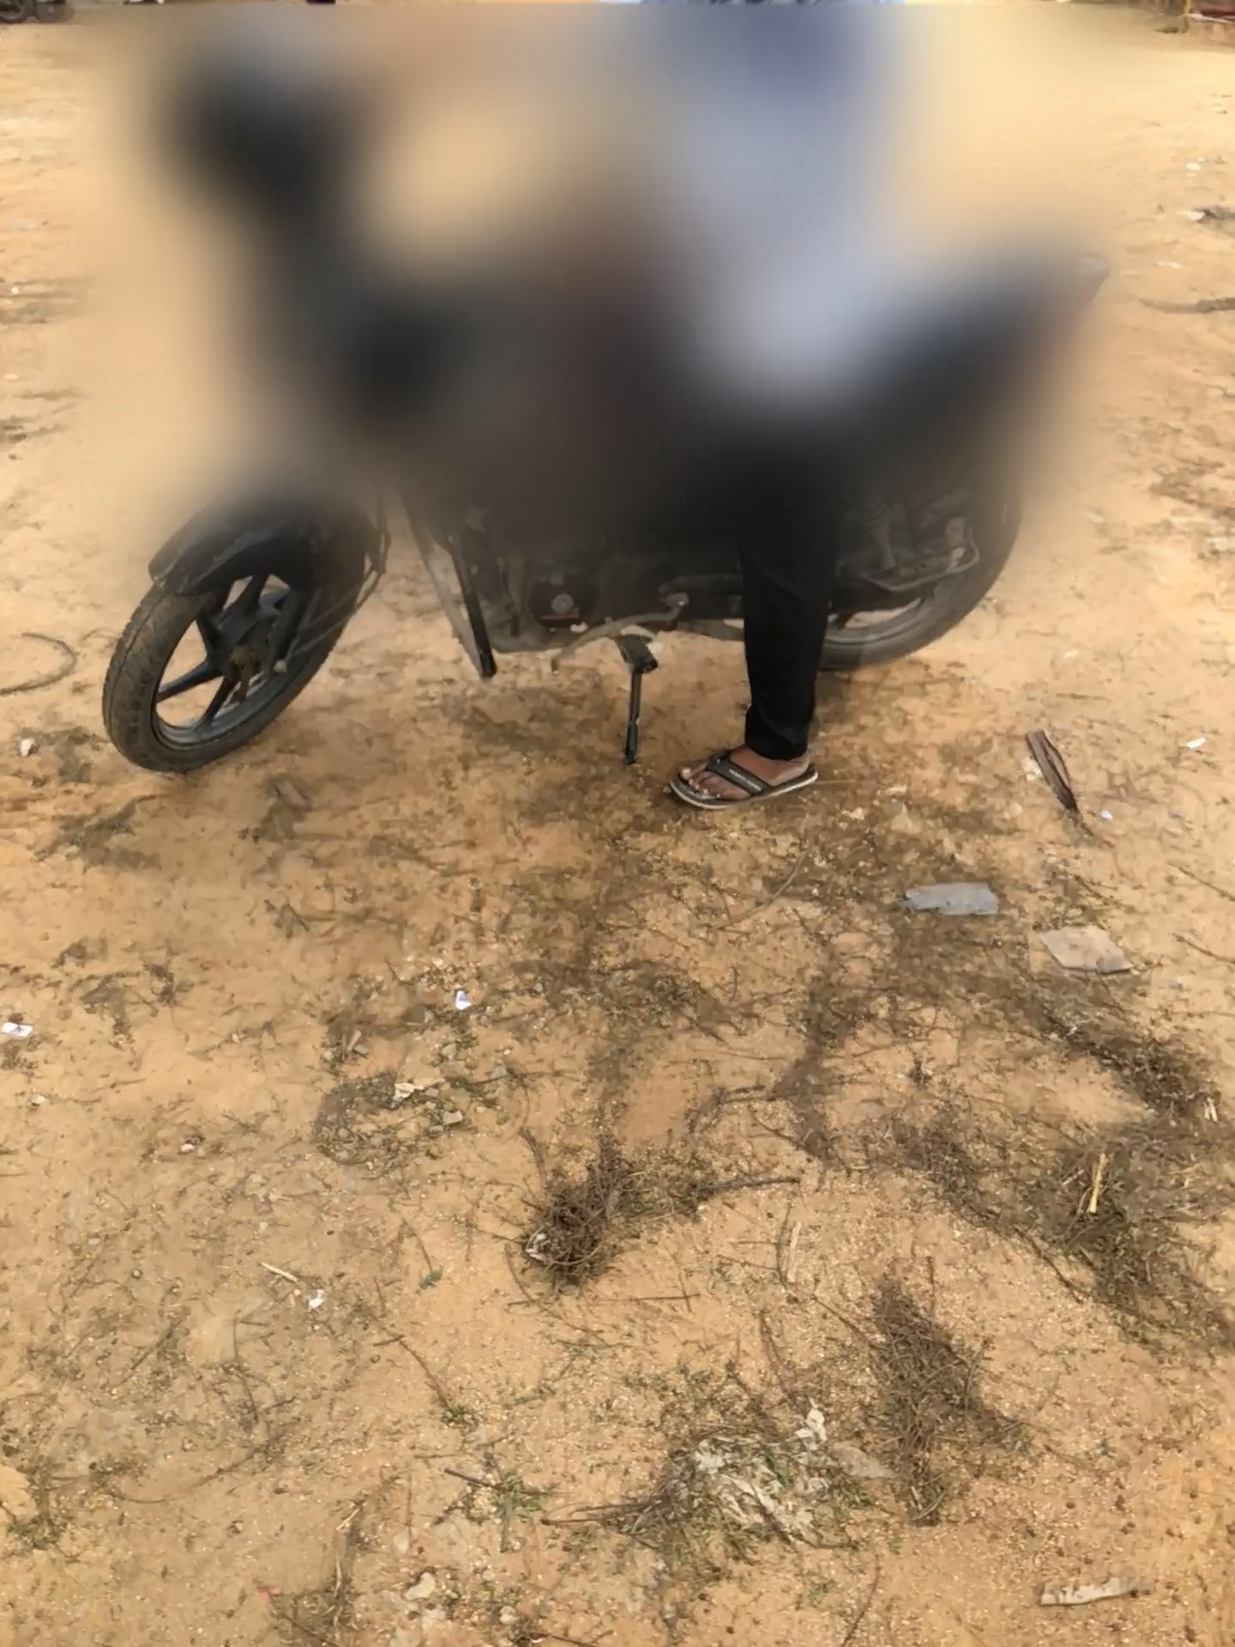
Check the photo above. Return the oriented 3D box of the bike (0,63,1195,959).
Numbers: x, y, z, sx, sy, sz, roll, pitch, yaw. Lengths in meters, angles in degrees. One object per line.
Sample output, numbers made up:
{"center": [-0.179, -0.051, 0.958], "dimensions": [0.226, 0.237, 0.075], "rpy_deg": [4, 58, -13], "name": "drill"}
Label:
{"center": [-0.078, -0.551, 2.201], "dimensions": [1.564, 0.913, 0.672], "rpy_deg": [-14, 36, -11], "name": "bike"}
